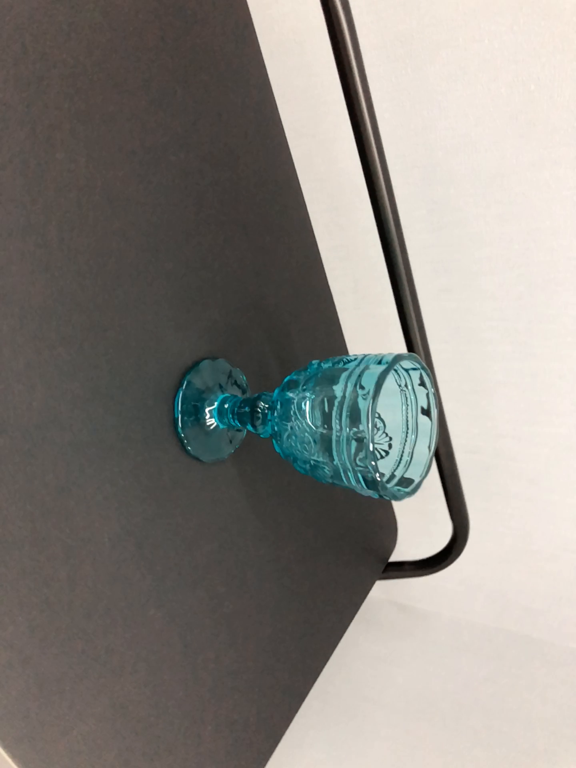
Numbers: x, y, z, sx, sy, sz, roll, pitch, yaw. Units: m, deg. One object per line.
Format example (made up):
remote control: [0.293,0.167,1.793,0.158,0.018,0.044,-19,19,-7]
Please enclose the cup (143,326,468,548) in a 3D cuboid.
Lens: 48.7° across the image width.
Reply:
cup: [0.012,0.025,0.403,0.095,0.164,0.085,-43,125,-43]
